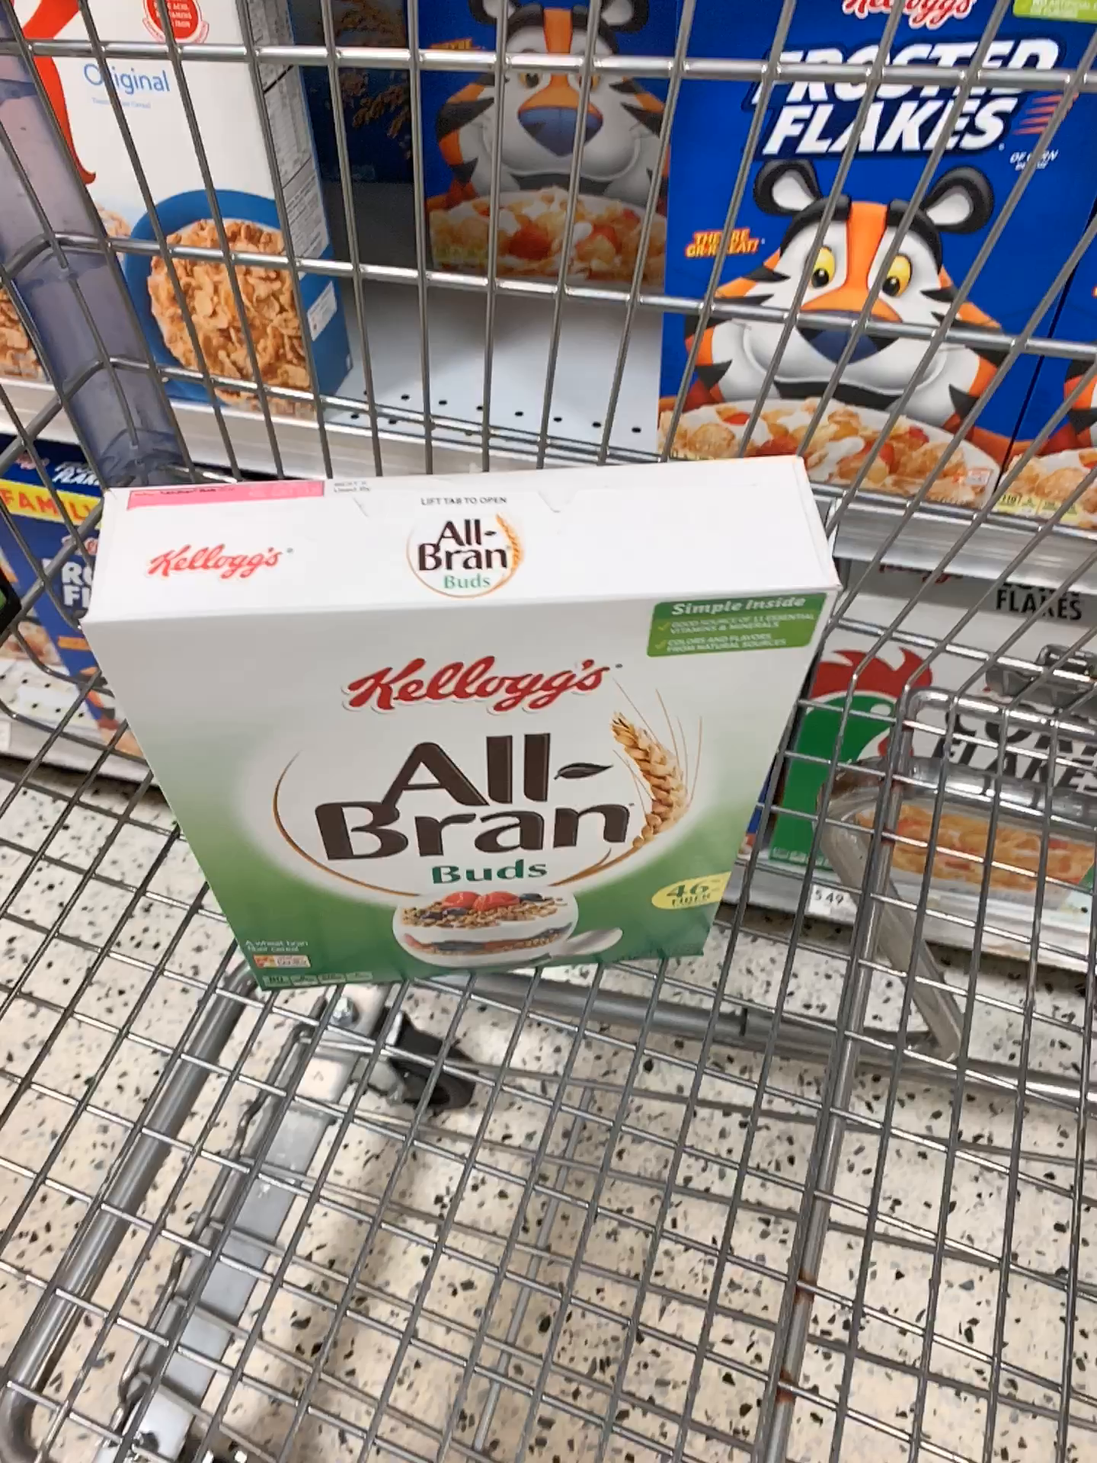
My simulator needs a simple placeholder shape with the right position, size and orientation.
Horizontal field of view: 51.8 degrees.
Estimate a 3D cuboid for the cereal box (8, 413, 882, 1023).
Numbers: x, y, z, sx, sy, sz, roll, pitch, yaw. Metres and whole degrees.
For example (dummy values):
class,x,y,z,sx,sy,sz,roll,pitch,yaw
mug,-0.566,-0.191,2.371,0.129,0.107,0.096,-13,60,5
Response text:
class,x,y,z,sx,sy,sz,roll,pitch,yaw
cereal box,-0.024,0.024,0.399,0.200,0.298,0.050,-4,58,-3
